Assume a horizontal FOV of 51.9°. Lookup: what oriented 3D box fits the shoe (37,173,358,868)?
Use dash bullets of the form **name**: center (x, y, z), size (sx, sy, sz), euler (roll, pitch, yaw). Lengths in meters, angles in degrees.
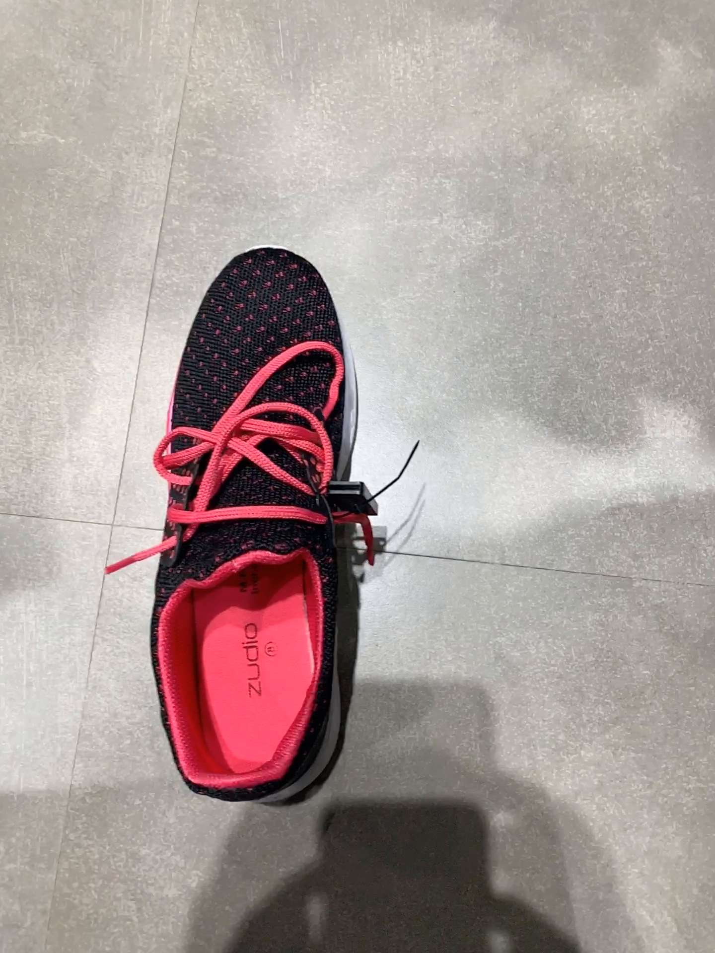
- **shoe**: center (-0.055, 0.015, 0.331), size (0.110, 0.110, 0.263), euler (0, 80, 1)
